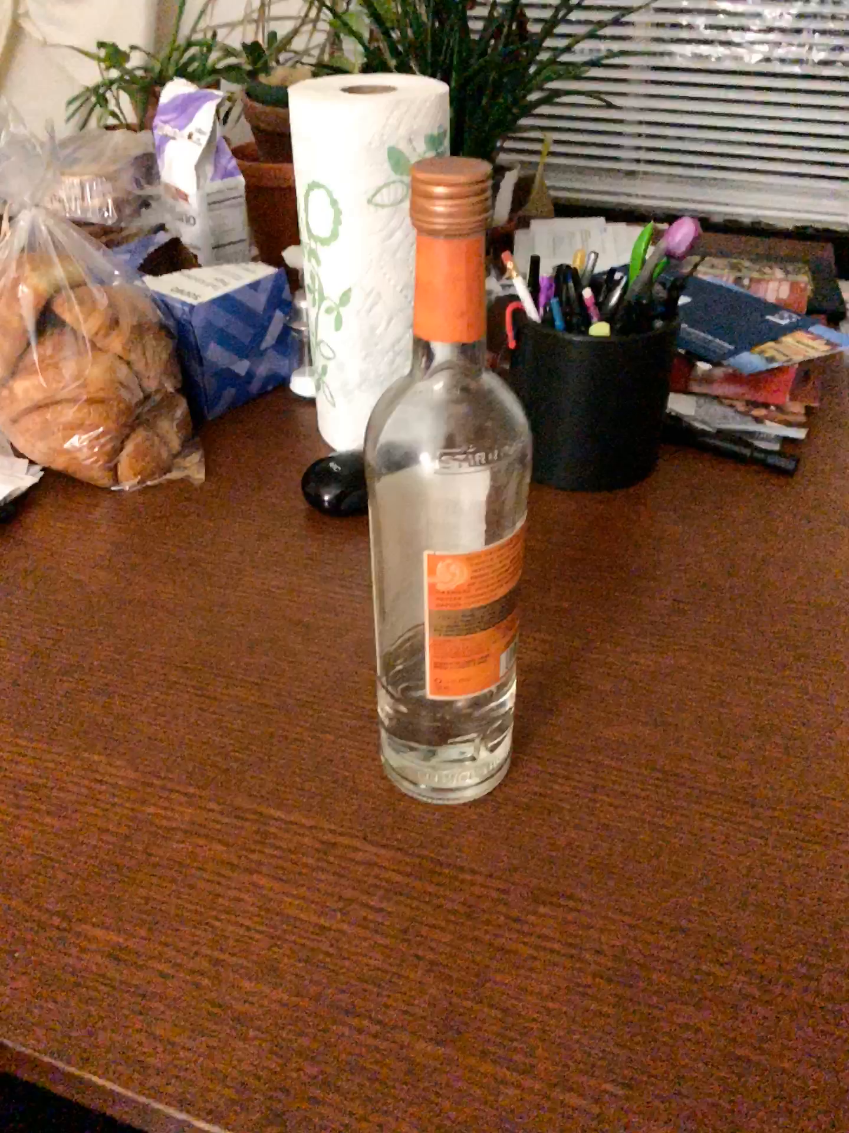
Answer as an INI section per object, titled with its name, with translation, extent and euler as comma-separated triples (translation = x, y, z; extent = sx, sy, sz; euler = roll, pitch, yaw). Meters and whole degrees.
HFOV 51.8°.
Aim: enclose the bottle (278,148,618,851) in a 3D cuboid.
[bottle]
translation = 0.006, -0.012, 0.391
extent = 0.090, 0.298, 0.080
euler = -18, 40, -22
